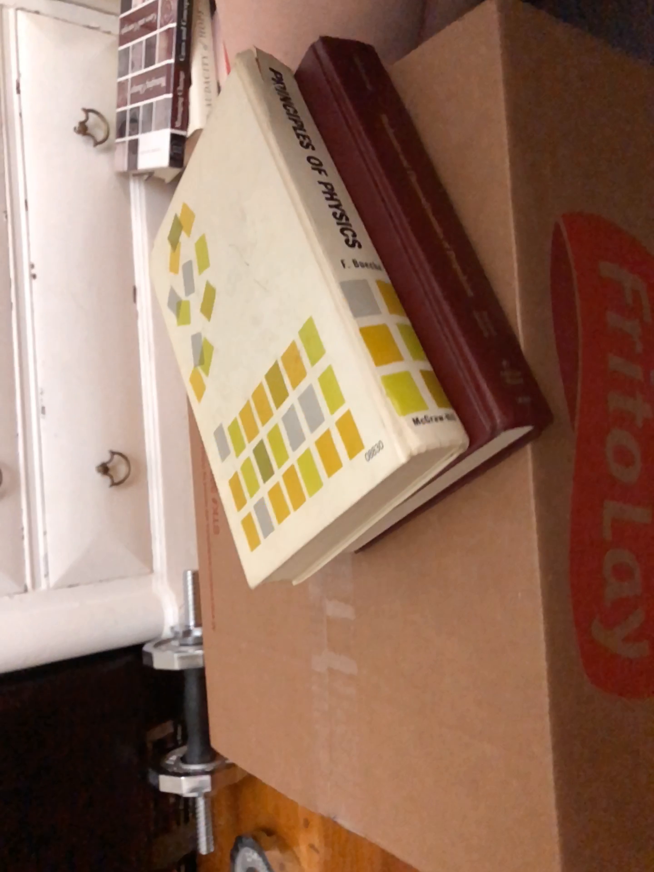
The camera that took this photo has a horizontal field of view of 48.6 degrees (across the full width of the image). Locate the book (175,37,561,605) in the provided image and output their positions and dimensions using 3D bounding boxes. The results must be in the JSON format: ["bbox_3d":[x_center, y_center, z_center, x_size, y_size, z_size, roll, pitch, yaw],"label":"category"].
[{"bbox_3d":[-0.002,-0.055,0.410,0.181,0.040,0.250,-41,62,46],"label":"book"}]

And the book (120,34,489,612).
[{"bbox_3d":[-0.037,-0.055,0.403,0.181,0.040,0.250,-44,60,45],"label":"book"}]
